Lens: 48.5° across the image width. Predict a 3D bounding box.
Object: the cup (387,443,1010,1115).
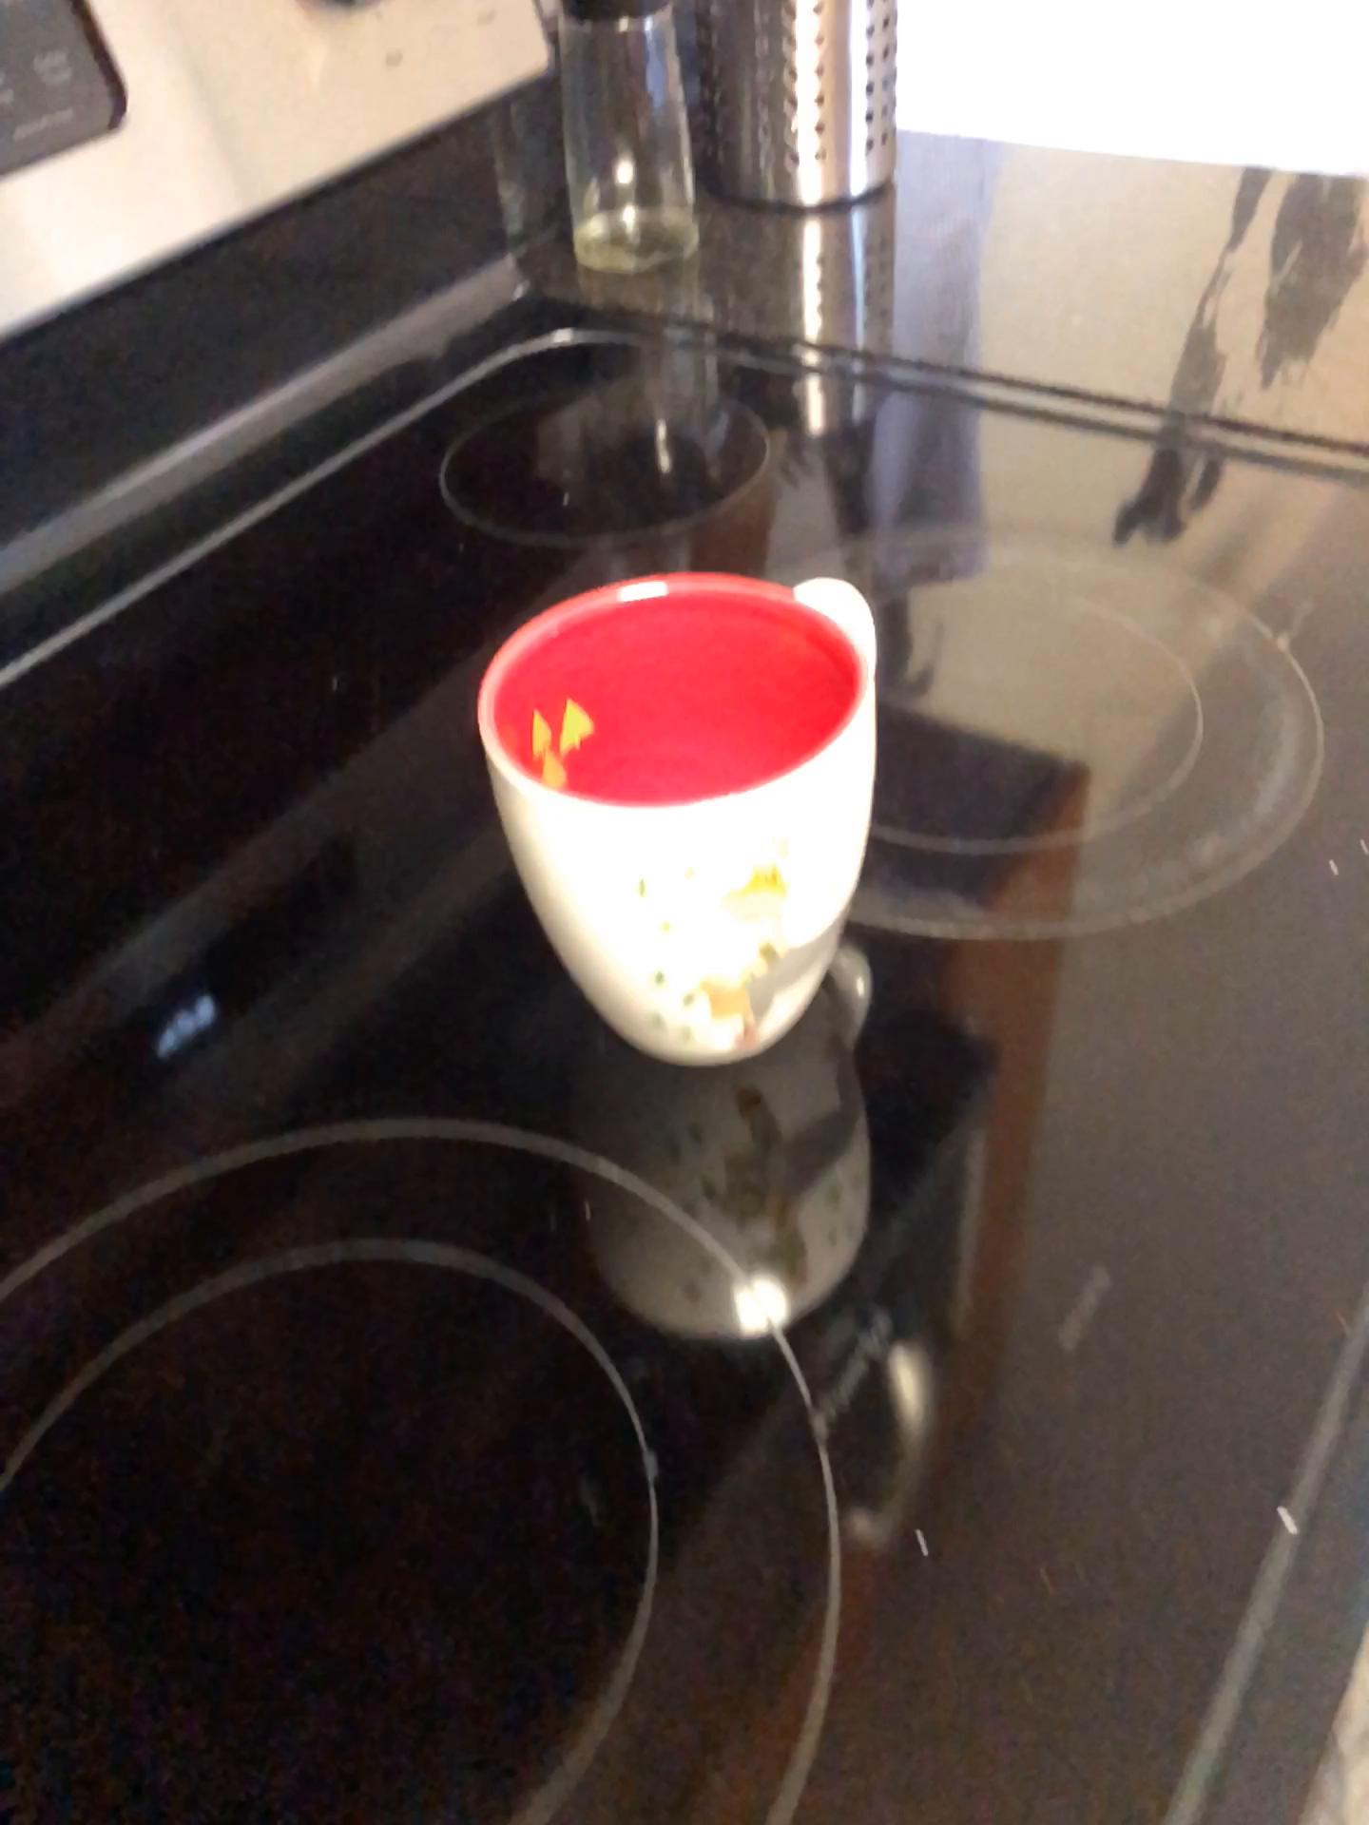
[{"bbox_3d":[0.012,-0.043,0.416,0.100,0.100,0.140,19,48,25],"label":"cup"}]
